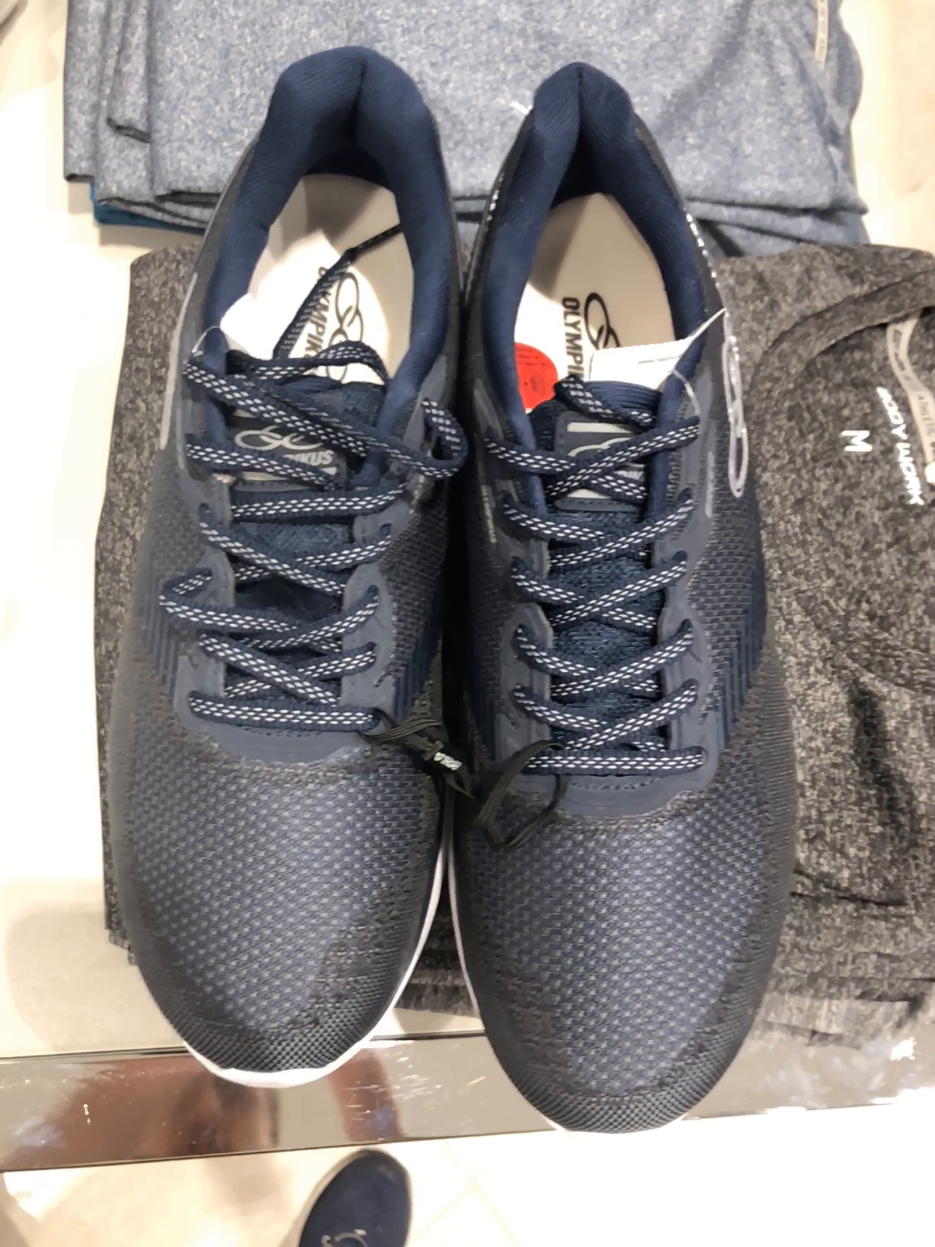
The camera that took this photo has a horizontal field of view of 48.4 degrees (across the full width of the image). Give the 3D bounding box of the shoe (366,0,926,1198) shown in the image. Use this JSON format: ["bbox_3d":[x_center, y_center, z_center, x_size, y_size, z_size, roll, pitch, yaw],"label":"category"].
[{"bbox_3d":[0.046,-0.007,0.319,0.120,0.130,0.290,-3,80,10],"label":"shoe"}]

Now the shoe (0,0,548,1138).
[{"bbox_3d":[-0.053,-0.021,0.318,0.120,0.130,0.290,4,80,-5],"label":"shoe"}]
